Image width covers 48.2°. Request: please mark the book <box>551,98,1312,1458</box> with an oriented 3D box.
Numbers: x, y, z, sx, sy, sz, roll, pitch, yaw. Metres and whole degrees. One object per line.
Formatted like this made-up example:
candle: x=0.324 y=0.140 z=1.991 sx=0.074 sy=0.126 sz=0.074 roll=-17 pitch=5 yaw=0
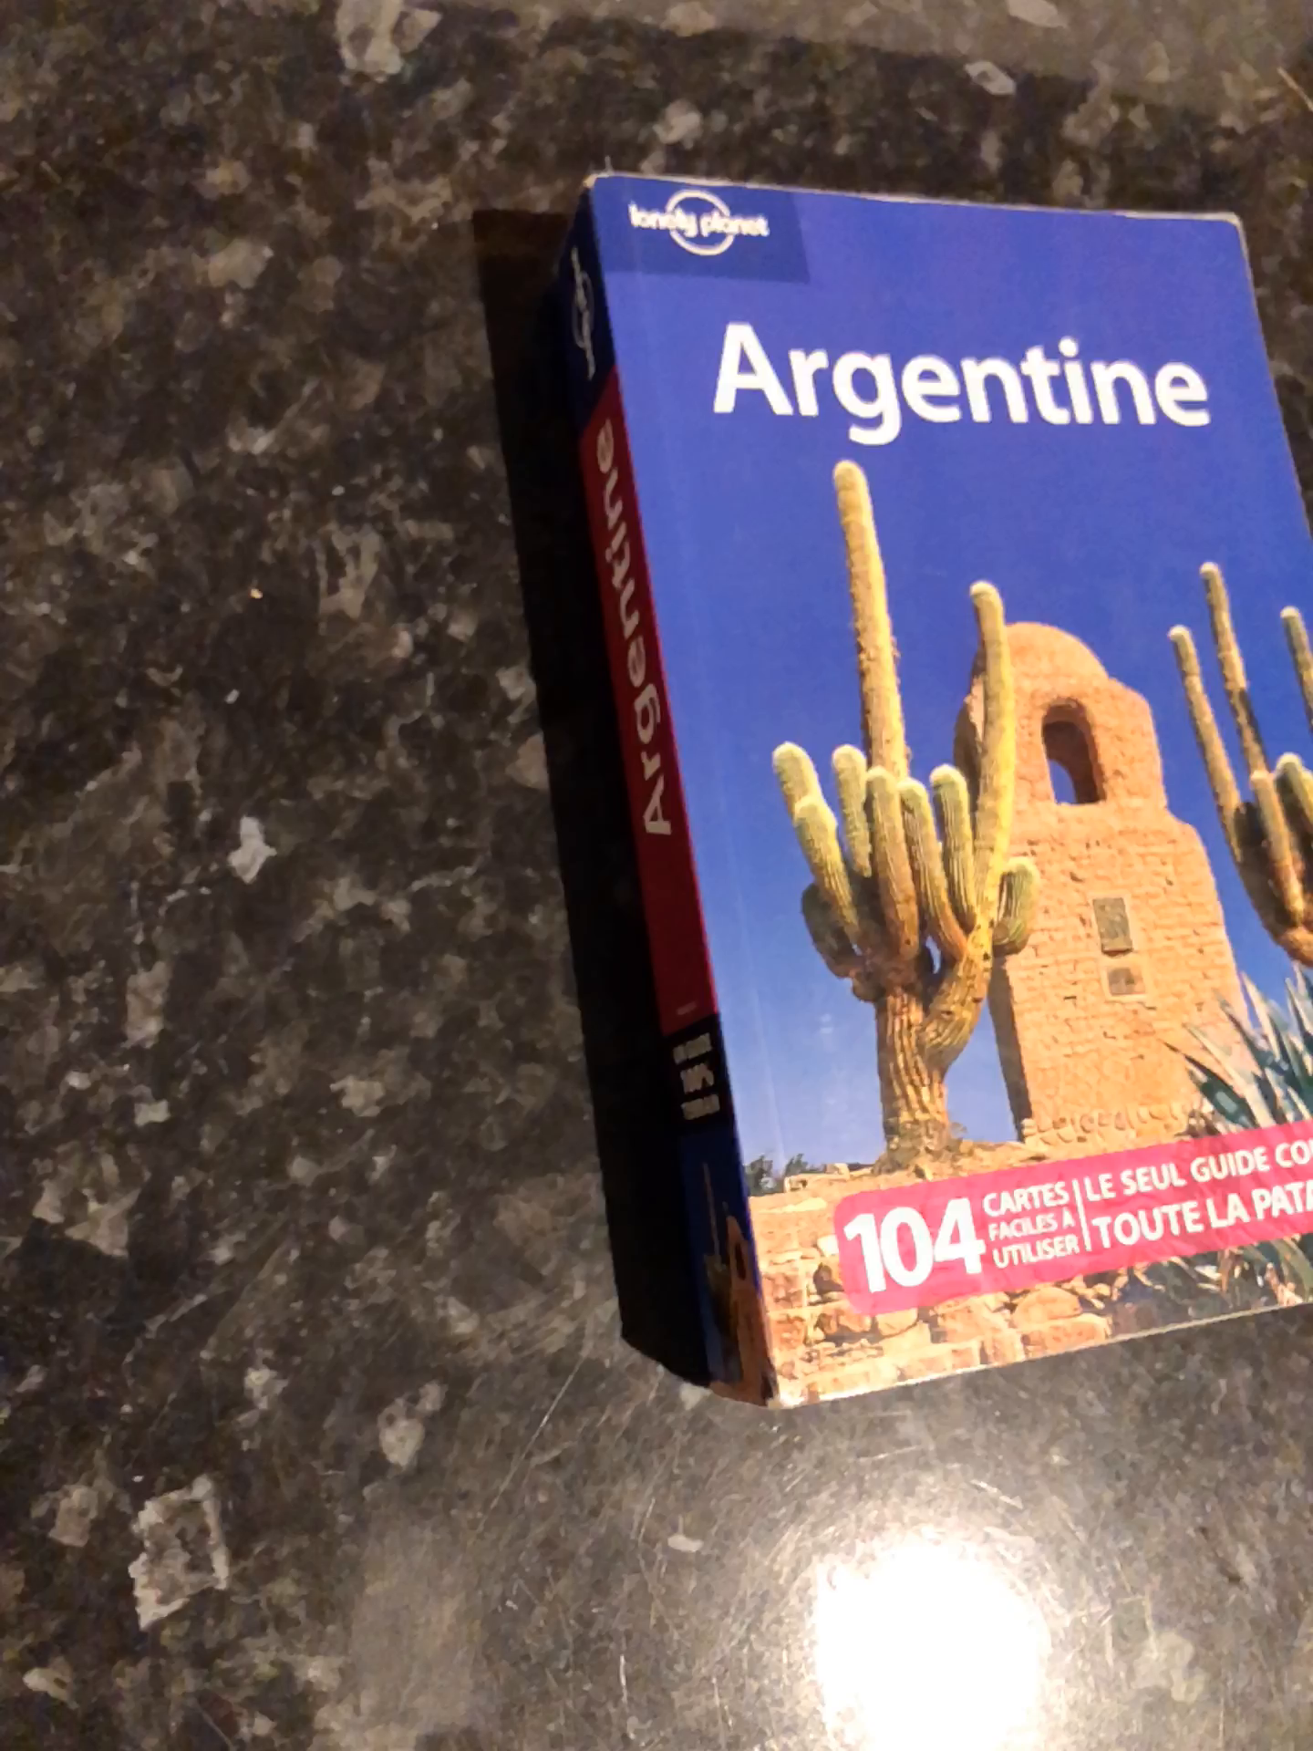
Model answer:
book: x=0.062 y=-0.026 z=0.250 sx=0.130 sy=0.030 sz=0.210 roll=-4 pitch=76 yaw=-18
